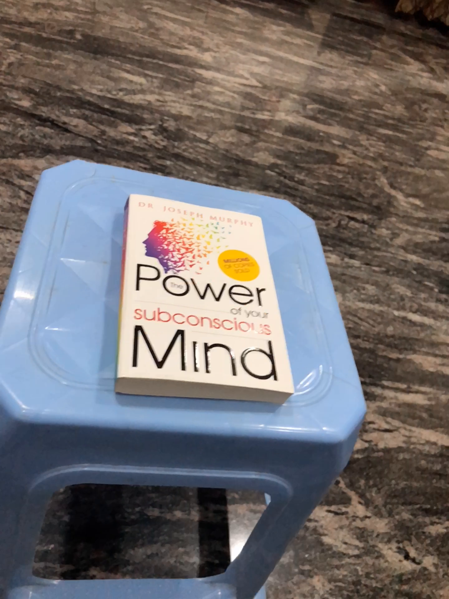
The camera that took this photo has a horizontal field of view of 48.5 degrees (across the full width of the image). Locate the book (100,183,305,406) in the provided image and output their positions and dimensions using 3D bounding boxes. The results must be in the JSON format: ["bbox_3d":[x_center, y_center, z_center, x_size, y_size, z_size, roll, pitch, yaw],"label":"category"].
[{"bbox_3d":[-0.024,-0.012,0.412,0.140,0.030,0.201,6,47,-16],"label":"book"}]
